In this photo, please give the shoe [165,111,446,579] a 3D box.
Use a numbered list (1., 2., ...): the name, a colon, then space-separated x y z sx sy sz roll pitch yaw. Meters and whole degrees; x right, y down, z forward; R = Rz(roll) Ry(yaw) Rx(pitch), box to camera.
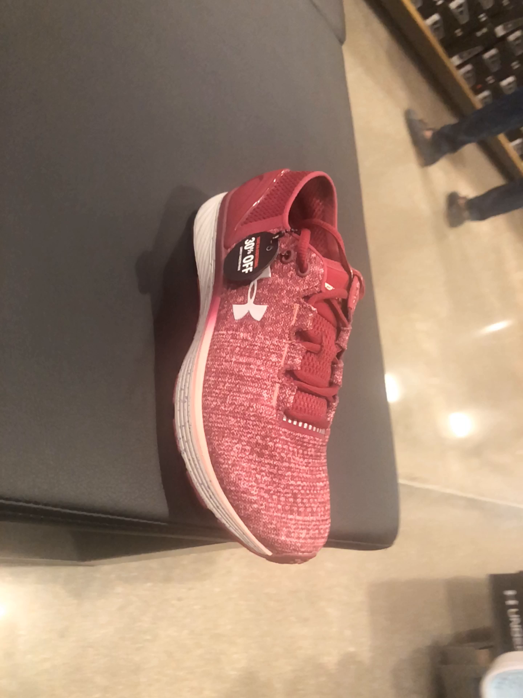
1. shoe: 0.021 0.004 0.373 0.122 0.097 0.253 18 59 -46
